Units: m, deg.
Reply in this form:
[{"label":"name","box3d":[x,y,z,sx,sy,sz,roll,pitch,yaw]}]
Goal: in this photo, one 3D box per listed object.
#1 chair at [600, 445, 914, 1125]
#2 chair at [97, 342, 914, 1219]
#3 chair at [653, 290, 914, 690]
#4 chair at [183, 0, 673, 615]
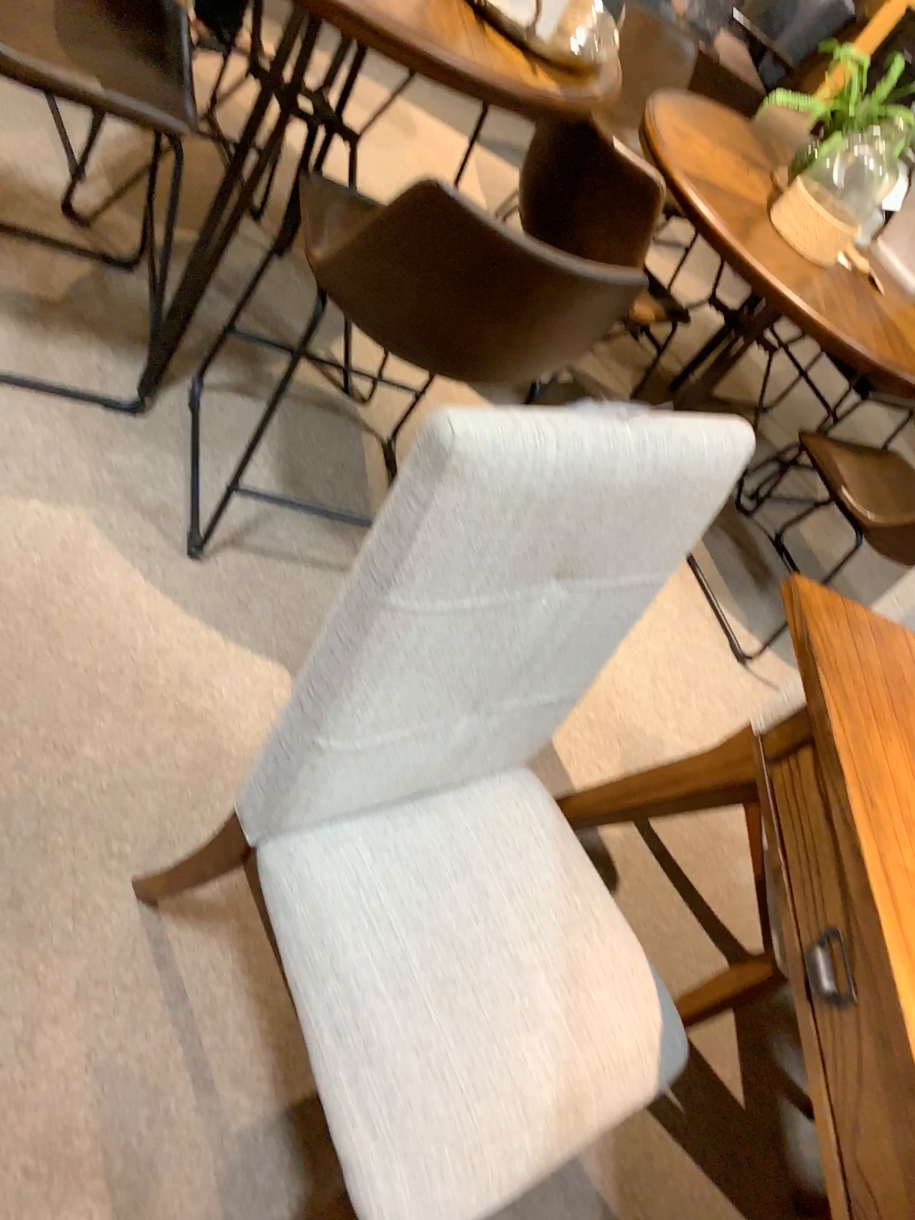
[{"label":"chair","box3d":[0.723,0.345,1.483,0.515,0.912,0.600,22,44,-19]},{"label":"chair","box3d":[0.026,0.295,1.033,0.486,0.912,0.628,-6,59,-39]},{"label":"chair","box3d":[1.026,-0.250,2.332,0.526,0.743,0.598,3,54,-34]},{"label":"chair","box3d":[-0.132,-0.482,1.677,0.495,0.793,0.569,11,51,-29]}]
